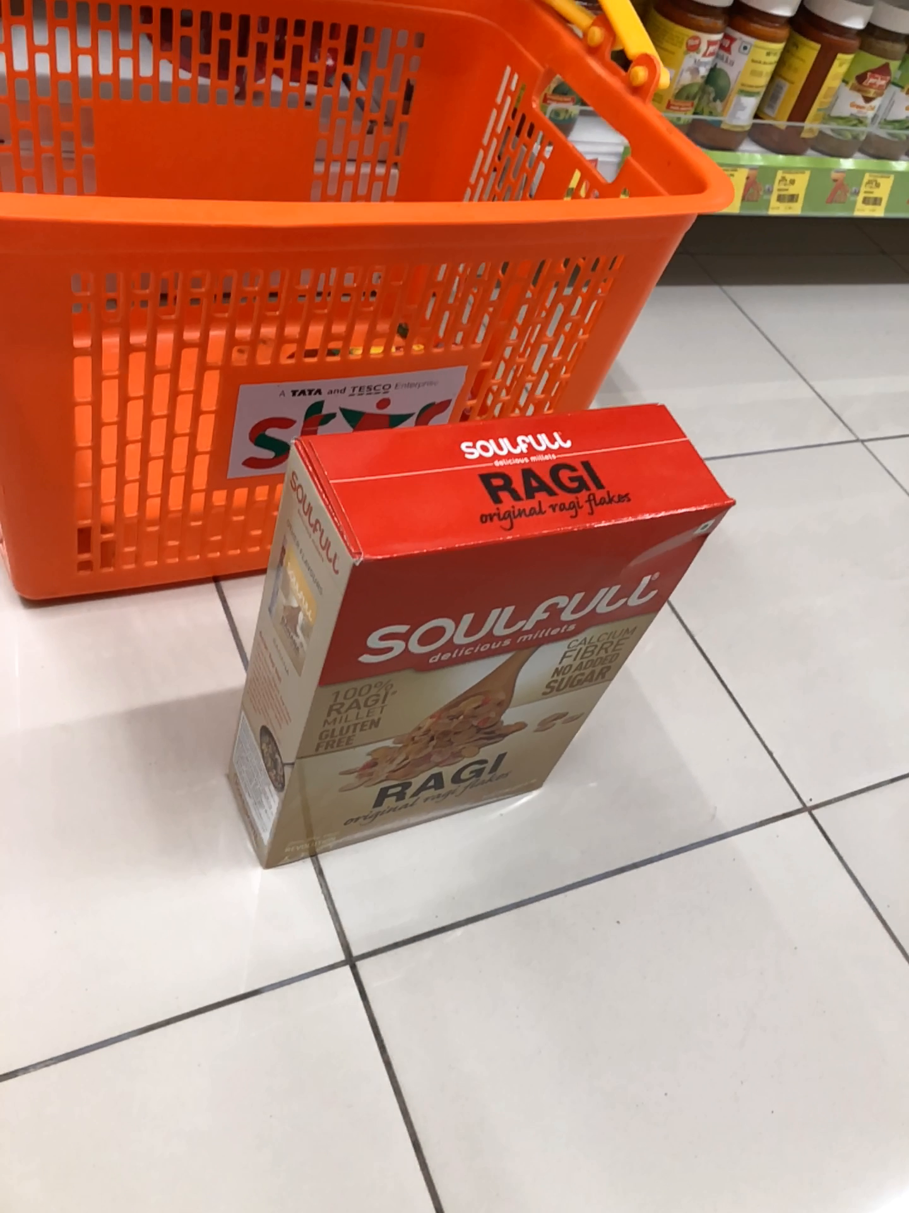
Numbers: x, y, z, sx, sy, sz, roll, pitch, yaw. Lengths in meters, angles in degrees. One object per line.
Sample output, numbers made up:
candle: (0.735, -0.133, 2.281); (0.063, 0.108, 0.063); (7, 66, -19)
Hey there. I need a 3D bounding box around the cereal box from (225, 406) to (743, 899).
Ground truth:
cereal box: (-0.003, 0.029, 0.457); (0.171, 0.238, 0.060); (-11, 54, -27)
